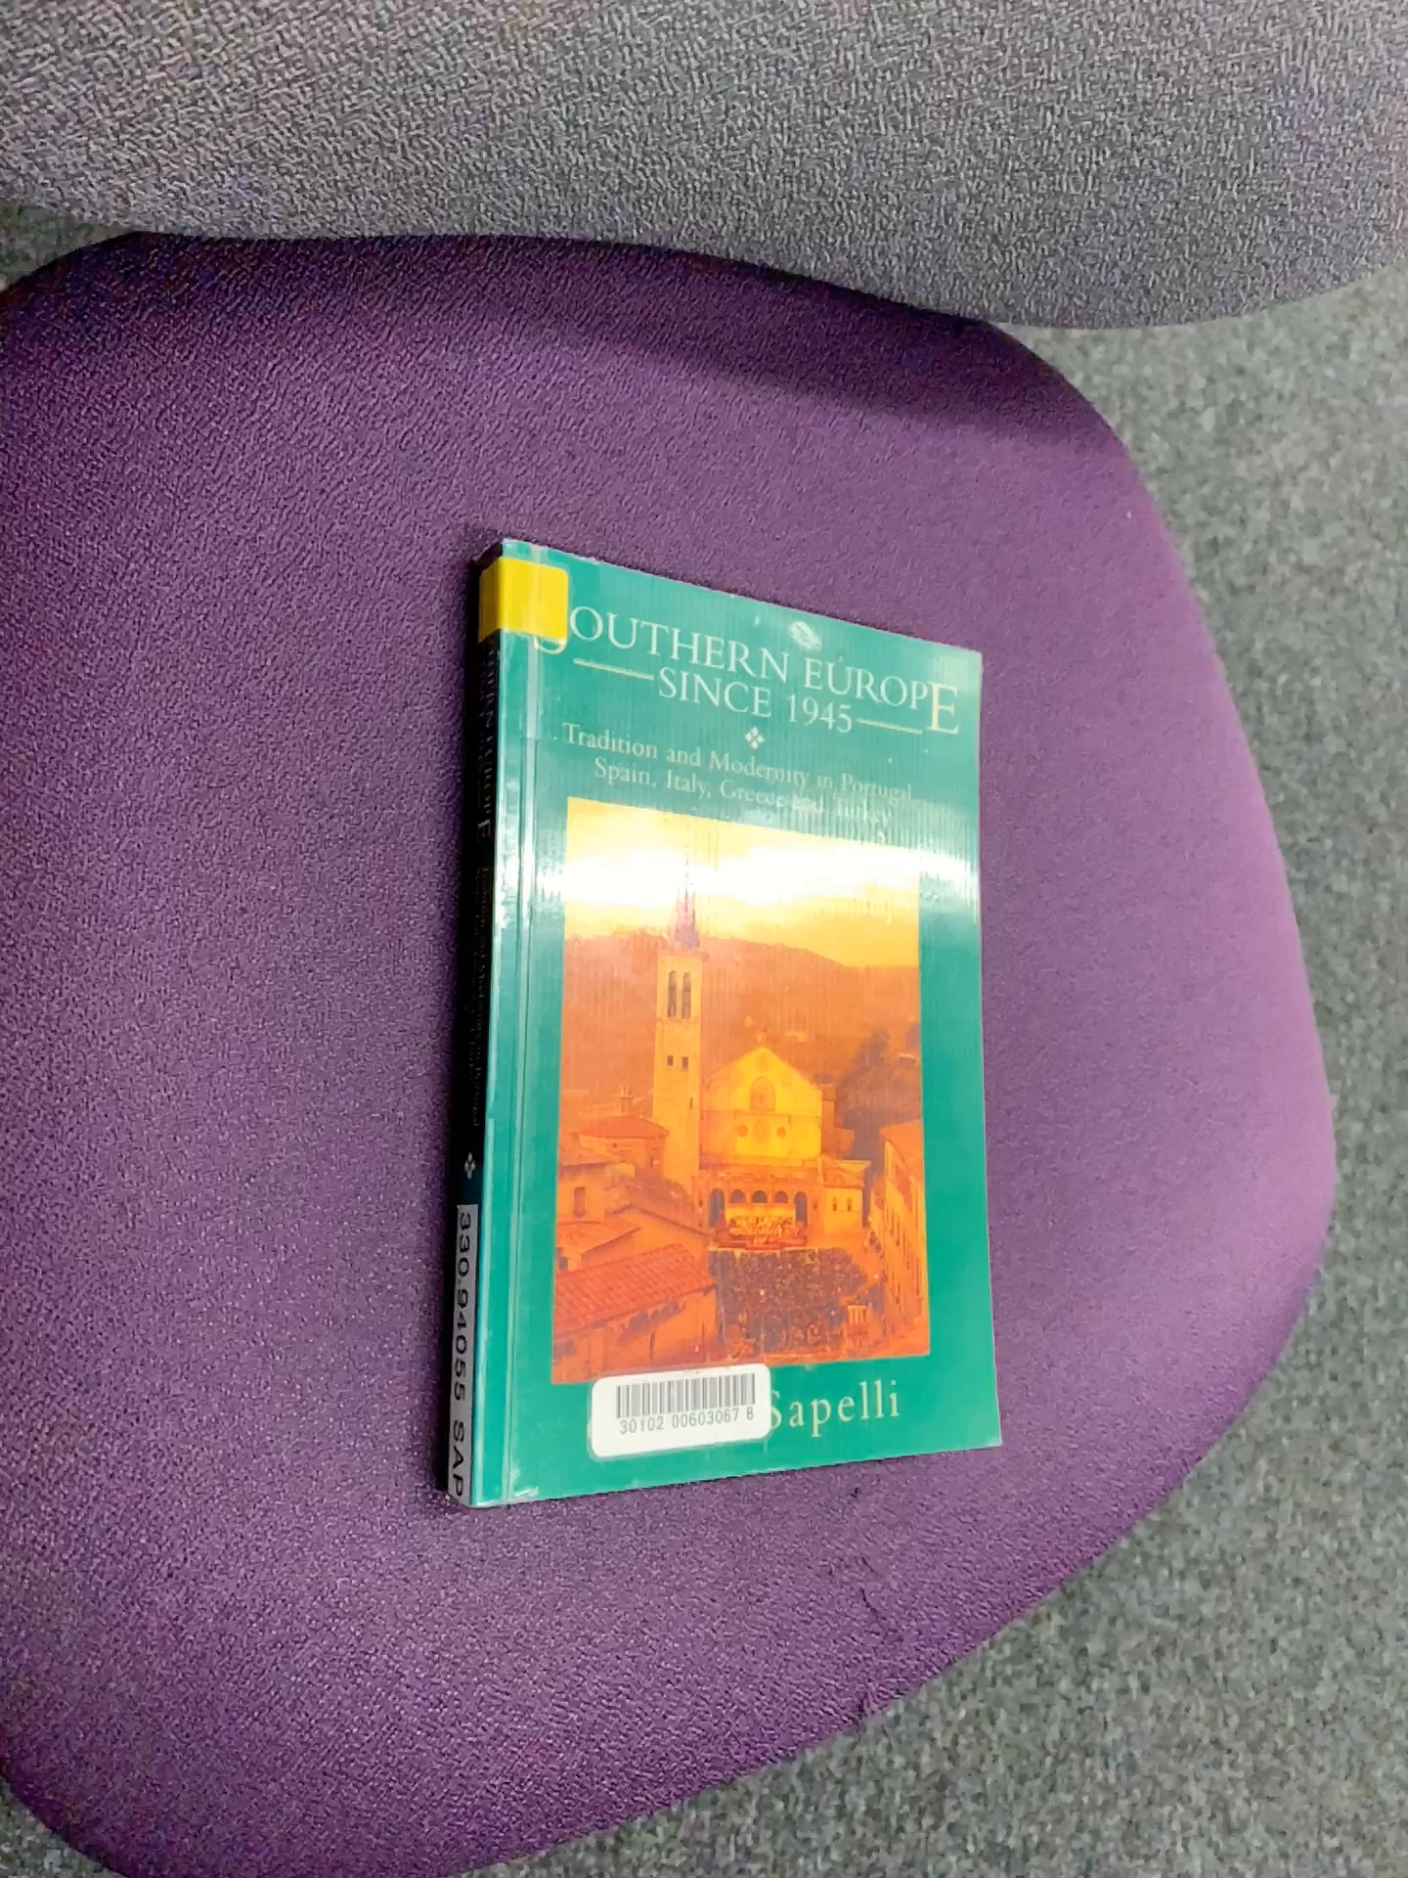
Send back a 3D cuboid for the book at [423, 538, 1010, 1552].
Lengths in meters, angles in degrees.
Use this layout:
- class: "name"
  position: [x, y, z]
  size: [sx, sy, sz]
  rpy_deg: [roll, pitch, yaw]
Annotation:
- class: "book"
  position: [0.010, 0.024, 0.364]
  size: [0.154, 0.020, 0.221]
  rpy_deg: [5, 80, -31]
